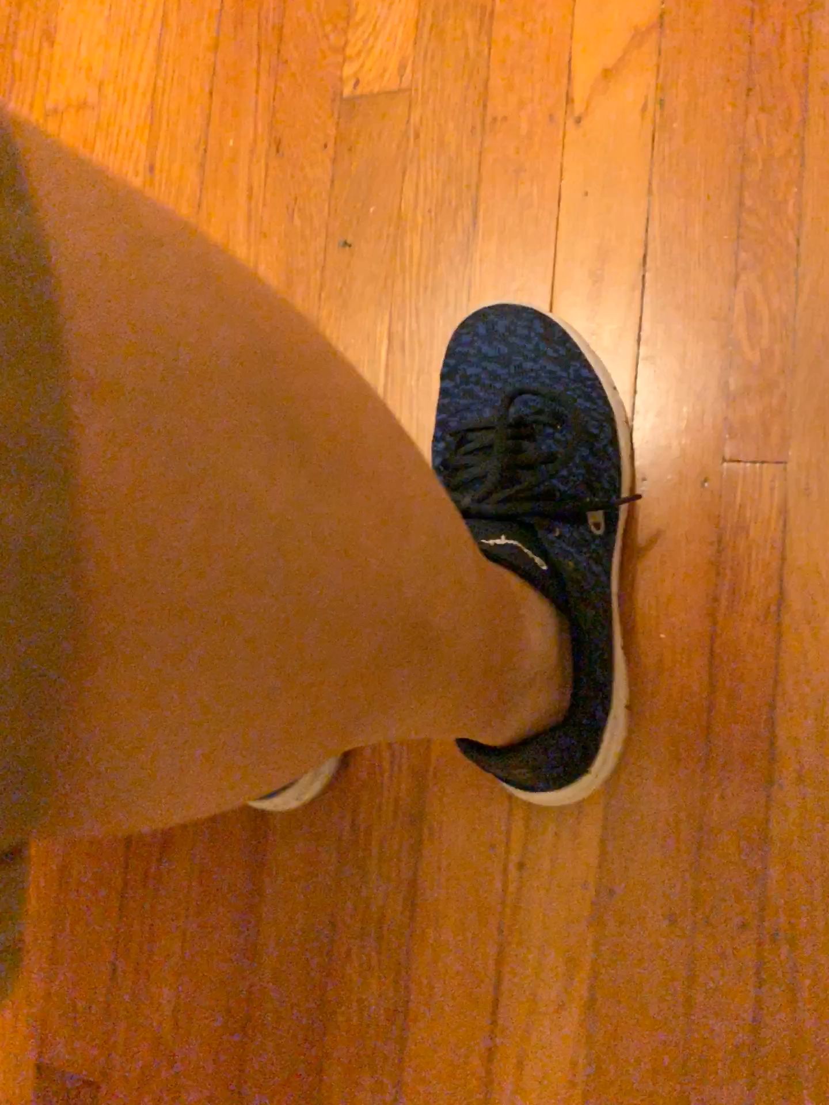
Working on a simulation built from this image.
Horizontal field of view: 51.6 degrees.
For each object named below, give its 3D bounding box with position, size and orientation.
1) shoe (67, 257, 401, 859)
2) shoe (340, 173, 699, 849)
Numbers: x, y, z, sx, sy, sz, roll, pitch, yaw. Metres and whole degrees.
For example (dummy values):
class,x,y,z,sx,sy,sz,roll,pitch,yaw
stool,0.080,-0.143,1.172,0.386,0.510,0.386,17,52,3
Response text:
class,x,y,z,sx,sy,sz,roll,pitch,yaw
shoe,-0.099,0.010,0.497,0.116,0.150,0.290,-7,81,19
shoe,0.057,-0.012,0.432,0.118,0.130,0.280,-10,80,19
